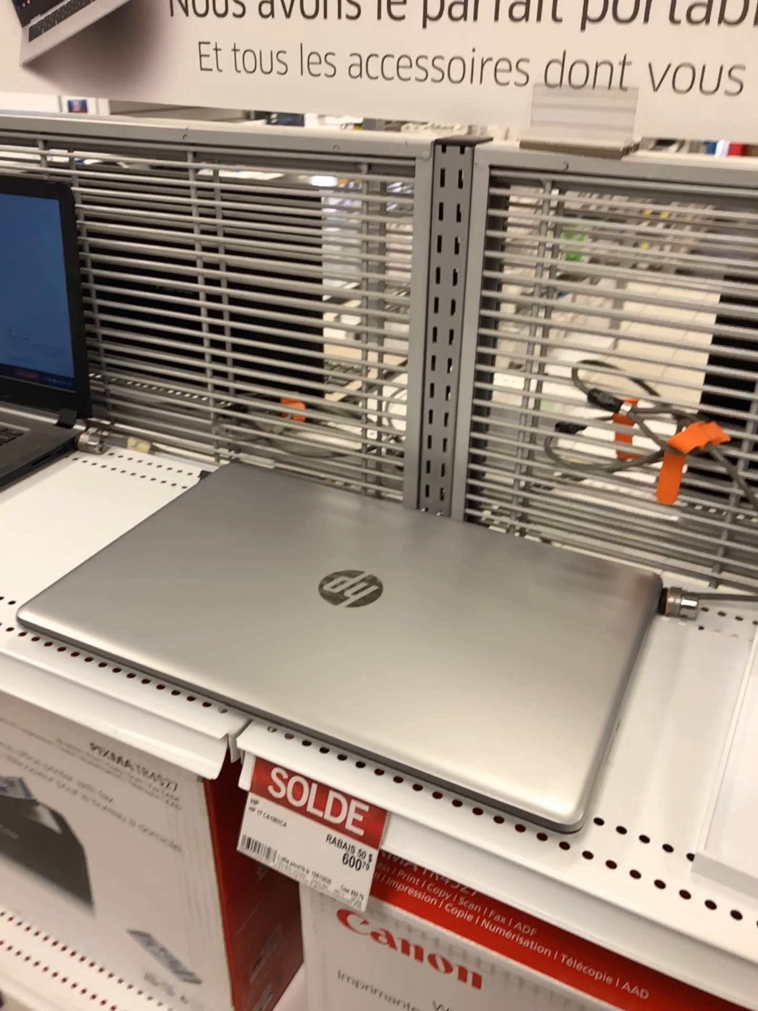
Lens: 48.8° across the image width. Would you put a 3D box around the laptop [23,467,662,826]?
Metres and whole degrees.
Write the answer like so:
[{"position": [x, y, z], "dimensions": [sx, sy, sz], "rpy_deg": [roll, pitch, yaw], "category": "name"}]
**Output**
[{"position": [-0.018, 0.068, 0.650], "dimensions": [0.416, 0.002, 0.277], "rpy_deg": [14, 31, 23], "category": "laptop"}]
